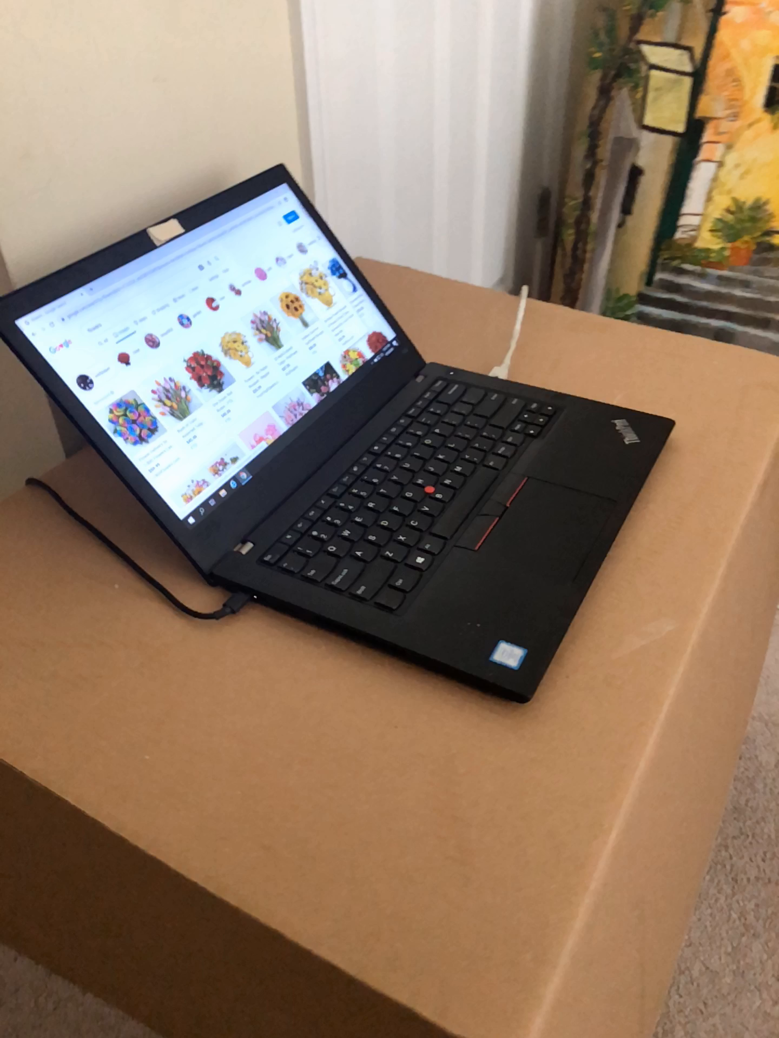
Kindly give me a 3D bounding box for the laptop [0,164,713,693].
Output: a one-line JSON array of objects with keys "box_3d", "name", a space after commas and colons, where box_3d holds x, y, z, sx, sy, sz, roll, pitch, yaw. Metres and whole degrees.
[{"box_3d": [-0.009, -0.105, 0.606, 0.365, 0.158, 0.324, 17, 42, 23], "name": "laptop"}]
